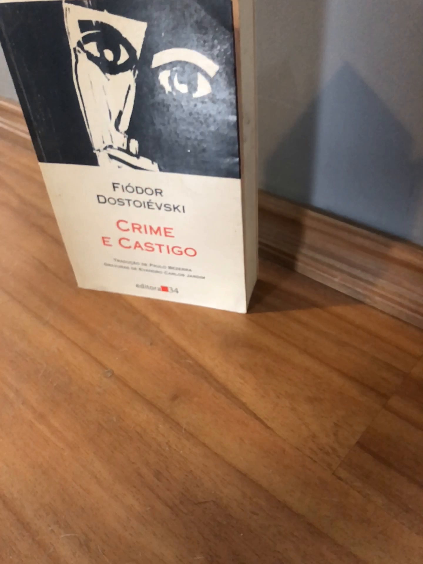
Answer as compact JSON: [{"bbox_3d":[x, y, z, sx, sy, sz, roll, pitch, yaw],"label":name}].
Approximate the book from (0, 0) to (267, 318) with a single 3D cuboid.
[{"bbox_3d":[-0.049,-0.084,0.353,0.170,0.222,0.046,9,40,16],"label":"book"}]
